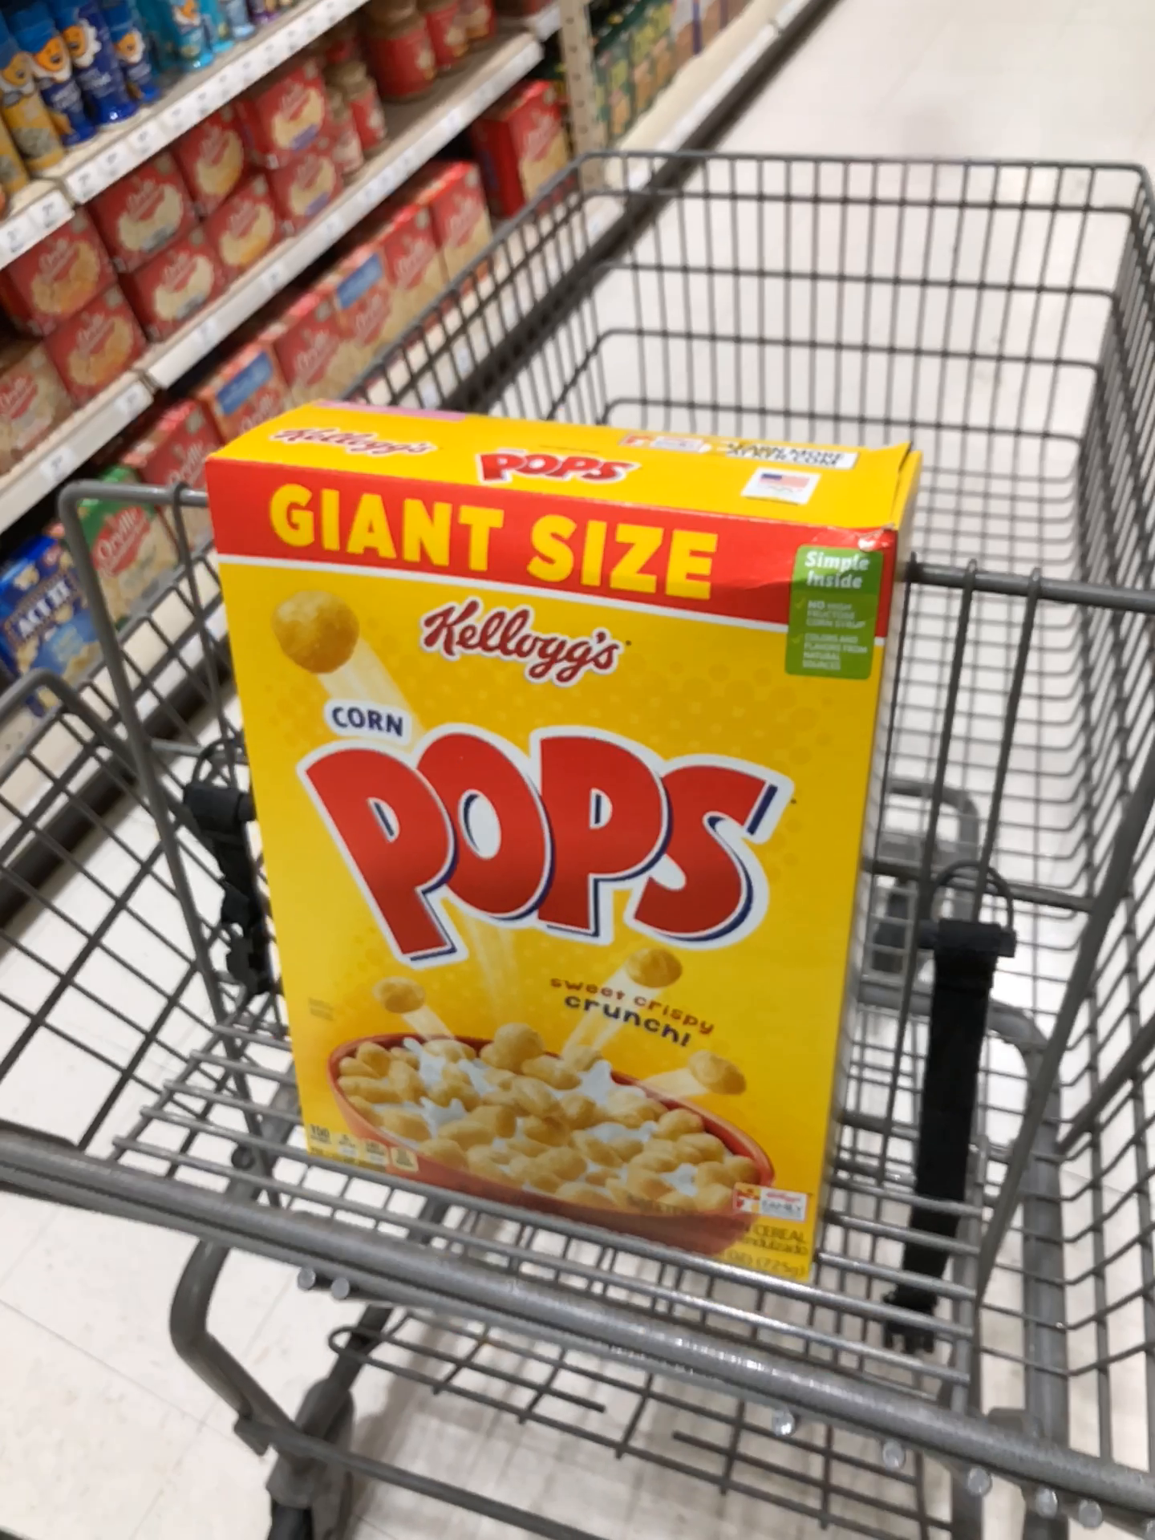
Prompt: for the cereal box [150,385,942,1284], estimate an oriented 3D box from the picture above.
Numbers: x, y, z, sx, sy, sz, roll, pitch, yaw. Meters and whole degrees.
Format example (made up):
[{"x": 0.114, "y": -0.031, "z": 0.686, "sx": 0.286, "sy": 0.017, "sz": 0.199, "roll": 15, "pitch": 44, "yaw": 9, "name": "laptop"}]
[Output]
[{"x": -0.009, "y": 0.032, "z": 0.510, "sx": 0.250, "sy": 0.330, "sz": 0.080, "roll": 9, "pitch": 33, "yaw": 16, "name": "cereal box"}]
